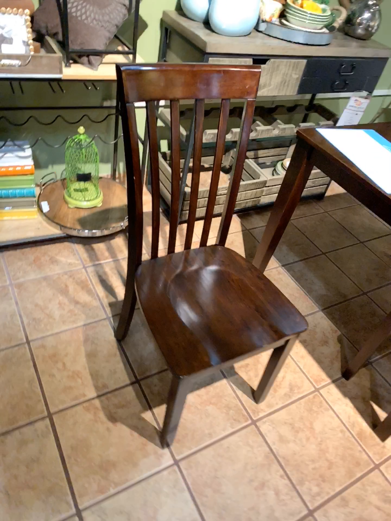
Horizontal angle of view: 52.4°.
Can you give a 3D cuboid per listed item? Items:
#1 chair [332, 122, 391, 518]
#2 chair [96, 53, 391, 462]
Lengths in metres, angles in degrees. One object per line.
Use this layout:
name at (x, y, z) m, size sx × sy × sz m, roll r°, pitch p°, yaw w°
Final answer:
chair at (0.955, 0.198, 1.171) m, size 0.462 × 0.946 × 0.575 m, roll -20°, pitch 52°, yaw -32°
chair at (0.039, 0.014, 1.137) m, size 0.462 × 0.936 × 0.586 m, roll -15°, pitch 49°, yaw -27°
